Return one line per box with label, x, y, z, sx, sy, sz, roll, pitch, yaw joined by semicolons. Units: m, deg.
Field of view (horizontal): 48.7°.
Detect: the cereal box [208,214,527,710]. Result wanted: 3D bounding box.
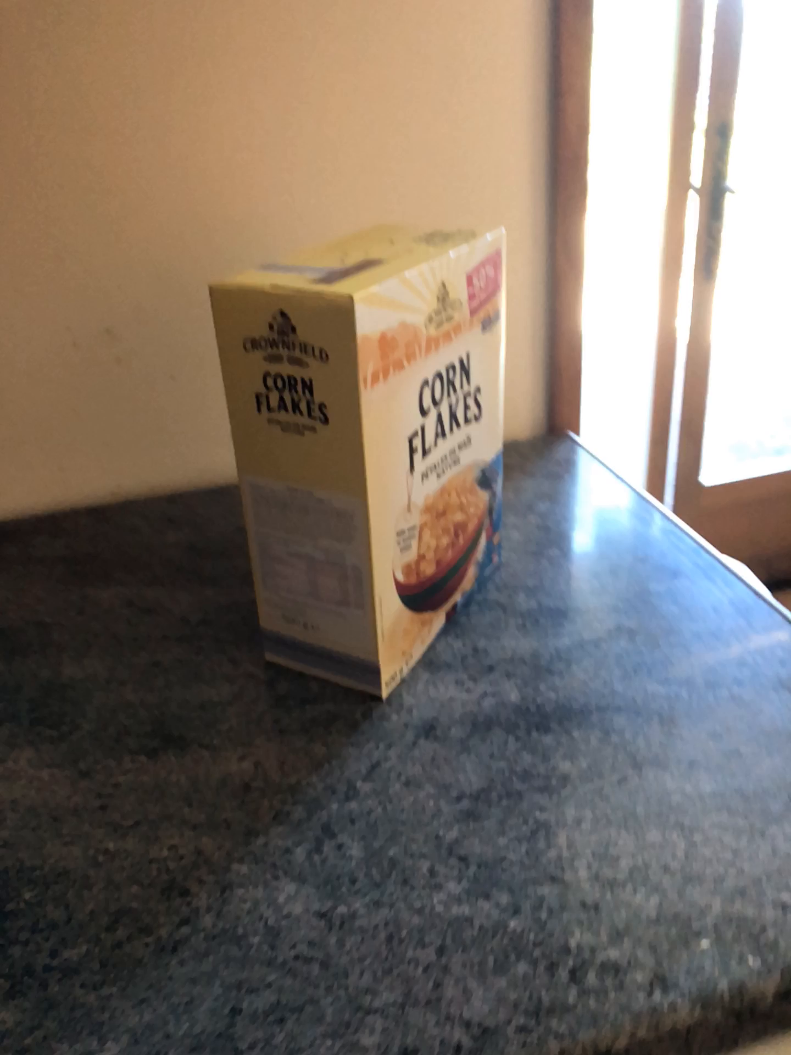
cereal box;-0.001;-0.055;0.577;0.100;0.259;0.201;12;30;27
